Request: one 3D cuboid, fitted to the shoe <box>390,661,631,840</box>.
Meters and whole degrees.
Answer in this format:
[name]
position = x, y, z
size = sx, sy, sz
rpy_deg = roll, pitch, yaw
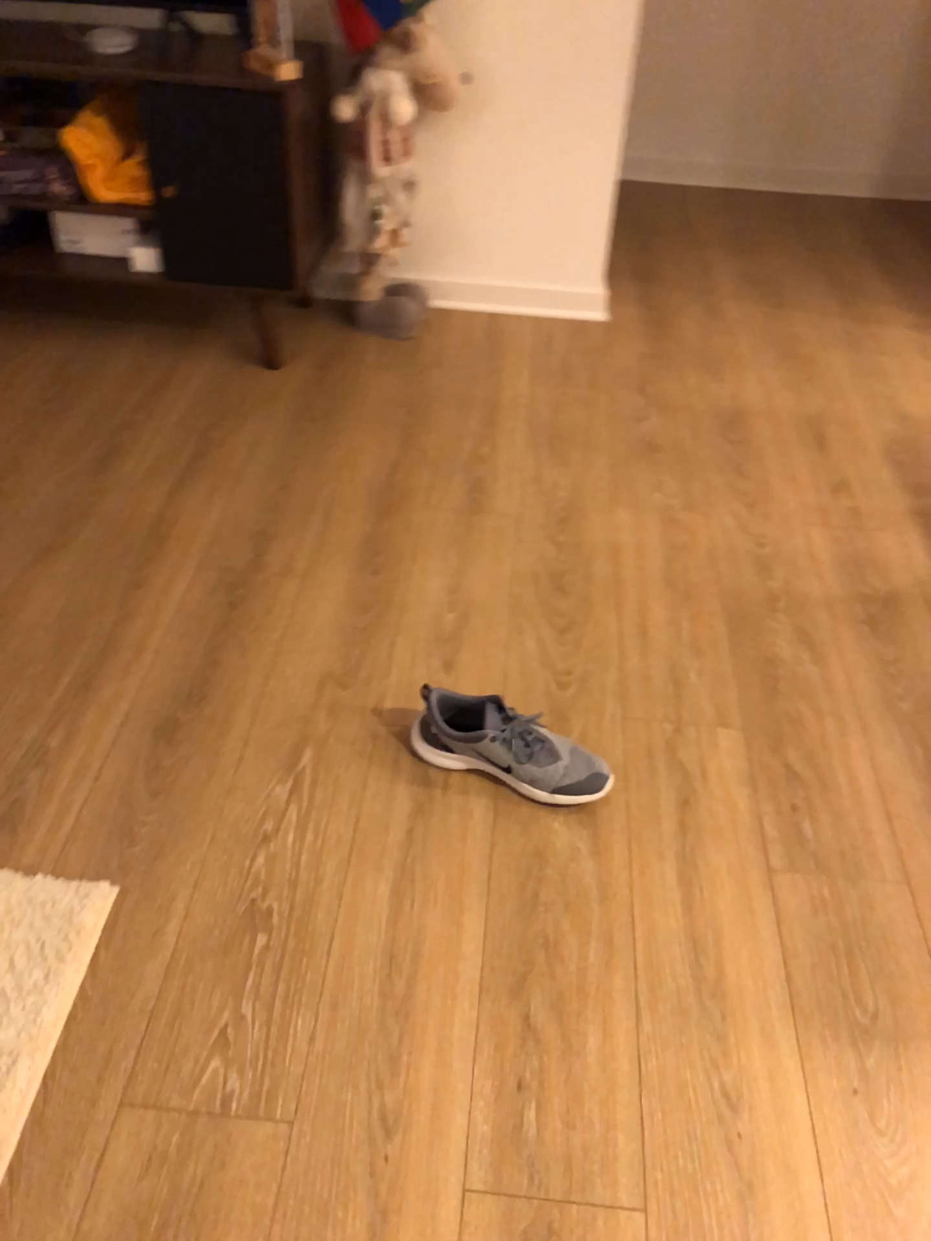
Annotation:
[shoe]
position = 0.061, 0.176, 1.425
size = 0.300, 0.089, 0.141
rpy_deg = 17, 42, 15
